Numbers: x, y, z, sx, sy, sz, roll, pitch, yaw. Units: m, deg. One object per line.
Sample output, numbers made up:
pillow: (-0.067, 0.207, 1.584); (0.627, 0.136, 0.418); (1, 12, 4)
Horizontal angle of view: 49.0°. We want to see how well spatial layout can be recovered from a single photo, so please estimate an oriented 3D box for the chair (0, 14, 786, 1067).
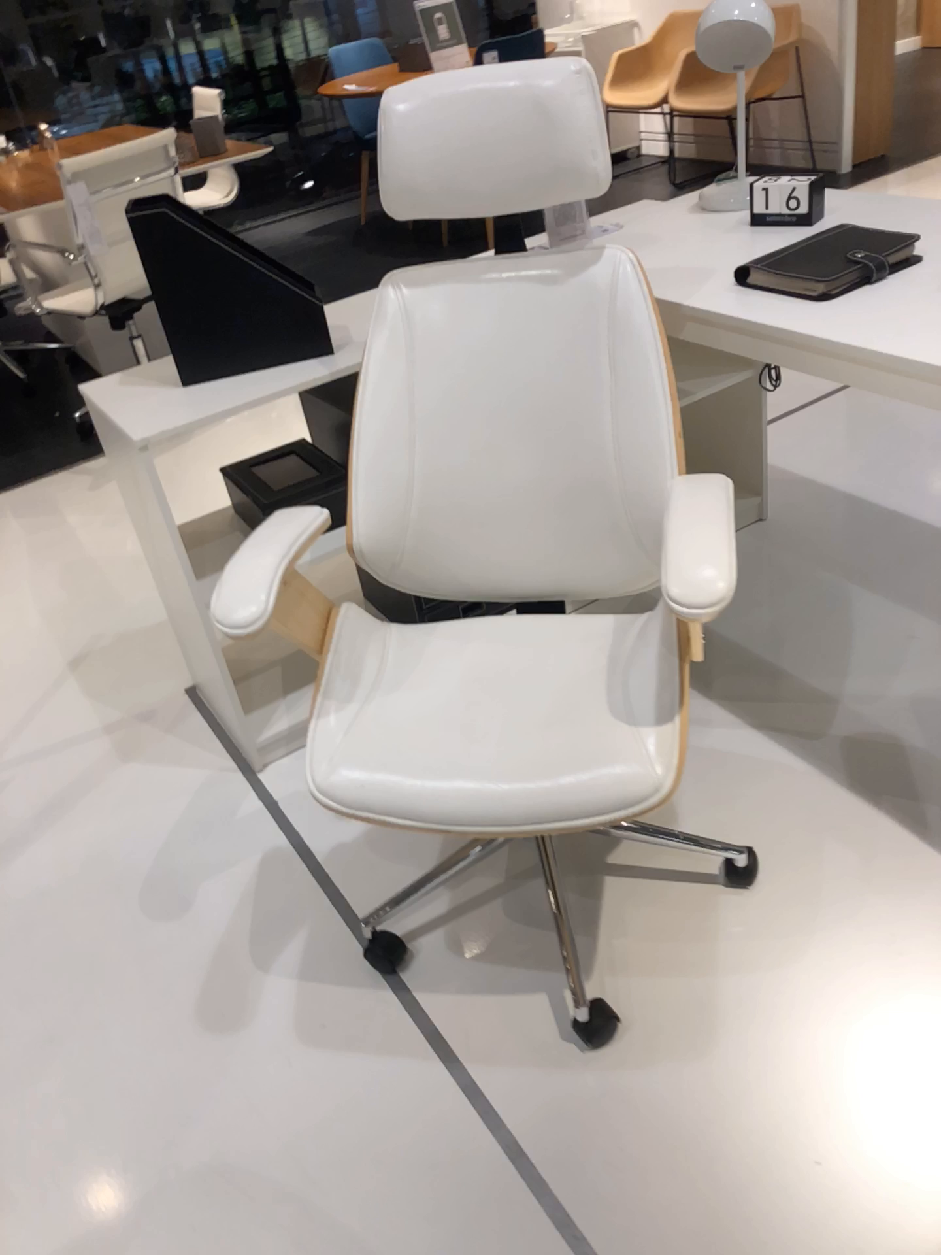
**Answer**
chair: (0.052, -0.095, 1.372); (0.670, 1.101, 0.706); (-1, 34, 15)
